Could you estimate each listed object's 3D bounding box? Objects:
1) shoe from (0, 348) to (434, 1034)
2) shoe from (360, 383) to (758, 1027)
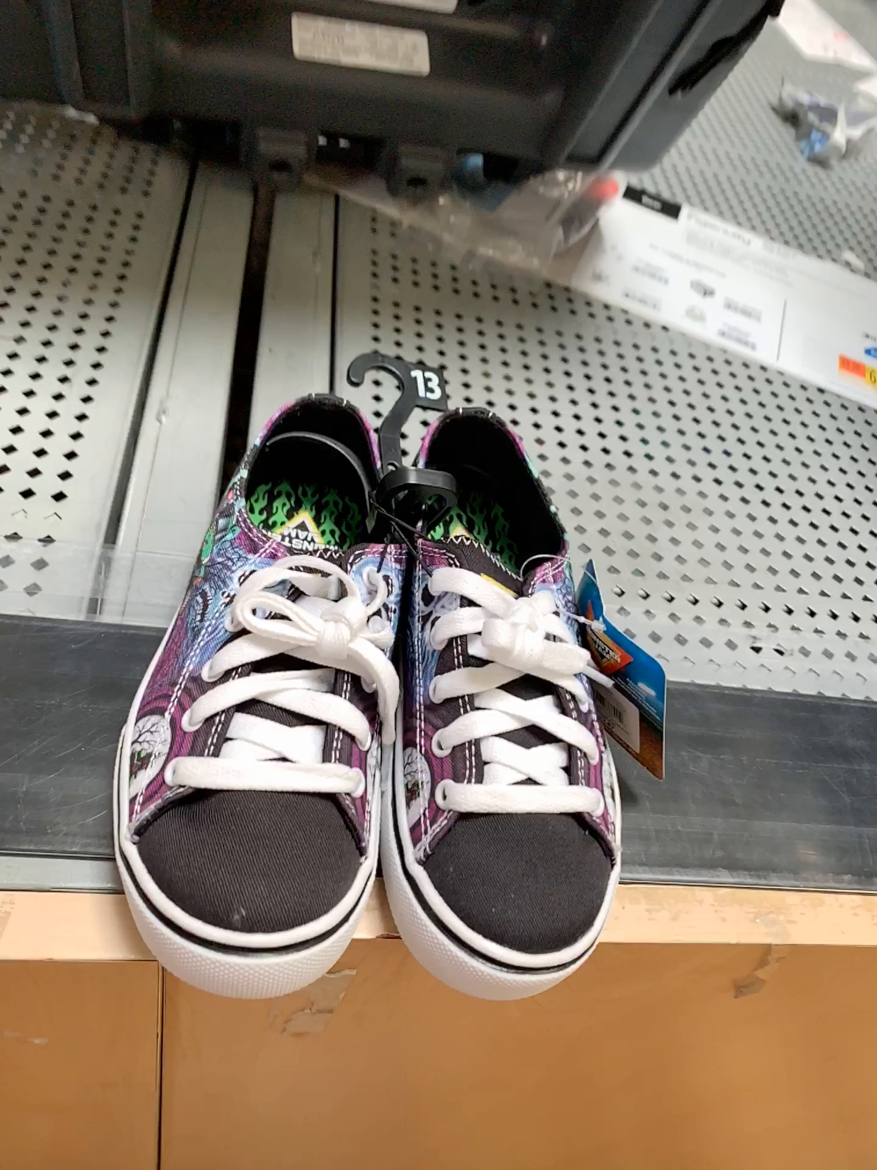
[{"bbox_3d":[-0.058,0.023,0.301,0.091,0.073,0.208,10,49,-9],"label":"shoe"},{"bbox_3d":[0.025,0.031,0.322,0.089,0.073,0.213,5,50,-13],"label":"shoe"}]
